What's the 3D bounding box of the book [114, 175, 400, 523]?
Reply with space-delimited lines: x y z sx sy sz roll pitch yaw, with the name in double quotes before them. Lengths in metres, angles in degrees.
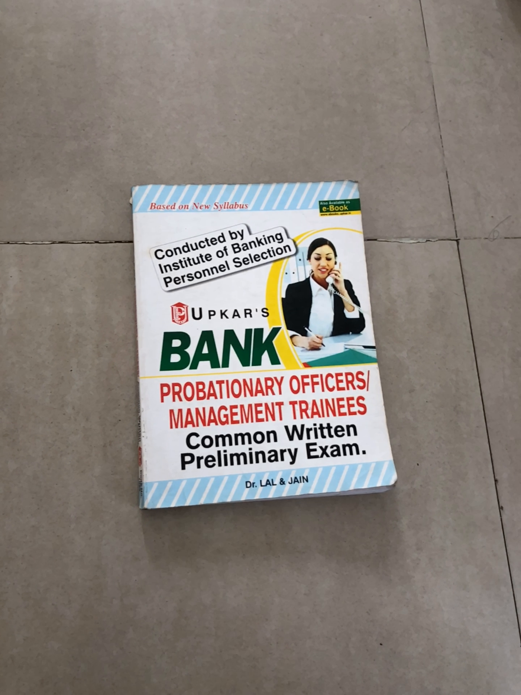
"book" -0.007 -0.005 0.408 0.180 0.040 0.230 -2 79 -9
